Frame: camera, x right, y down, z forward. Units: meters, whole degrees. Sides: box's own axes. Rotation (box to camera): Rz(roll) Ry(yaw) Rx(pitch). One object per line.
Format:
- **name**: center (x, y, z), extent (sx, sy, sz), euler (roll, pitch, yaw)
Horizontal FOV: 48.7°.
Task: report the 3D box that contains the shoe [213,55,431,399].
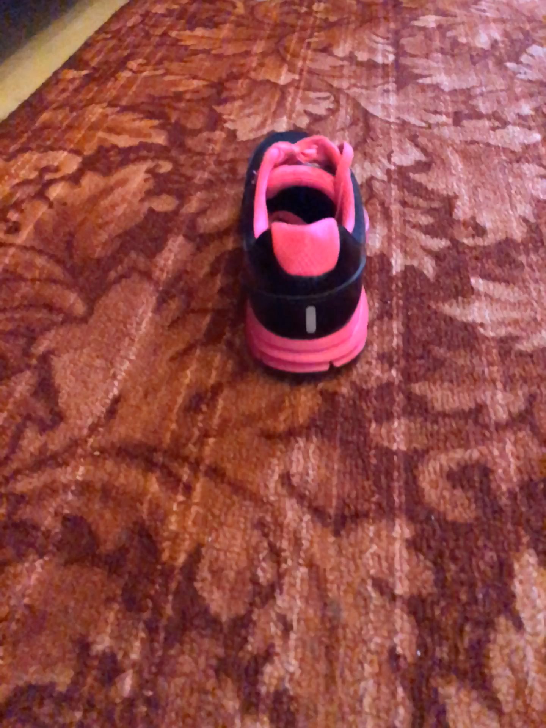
- **shoe**: center (0.028, -0.104, 0.401), extent (0.100, 0.110, 0.241), euler (-1, 45, 3)
